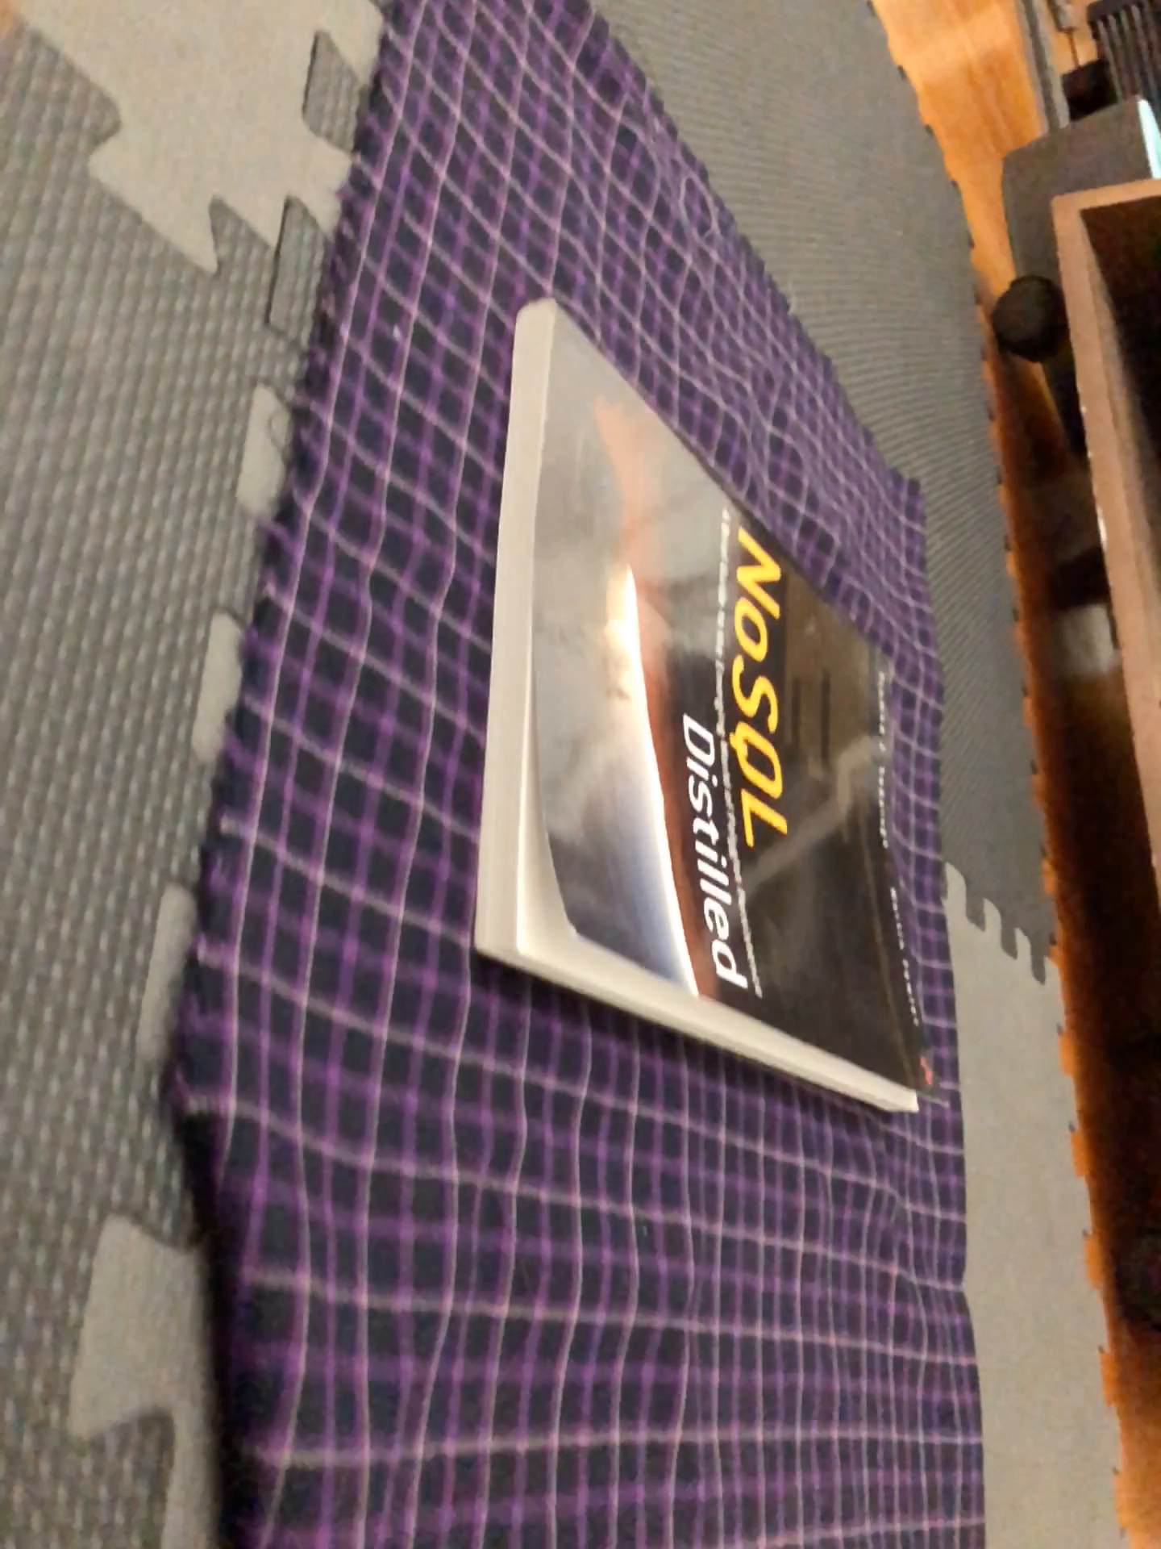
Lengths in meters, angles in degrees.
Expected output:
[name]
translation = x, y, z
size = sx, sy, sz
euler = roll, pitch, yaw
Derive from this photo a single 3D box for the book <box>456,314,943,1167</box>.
[book]
translation = 0.053, 0.010, 0.403
size = 0.251, 0.020, 0.190
euler = 32, 52, -50
